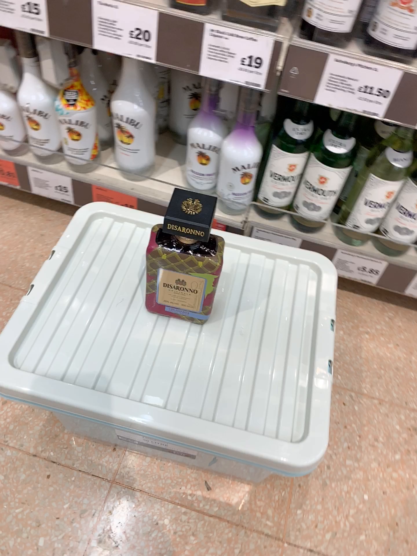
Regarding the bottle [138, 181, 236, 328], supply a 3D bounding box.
[{"bbox_3d":[-0.033,-0.021,0.564,0.100,0.198,0.060,13,52,2],"label":"bottle"}]
